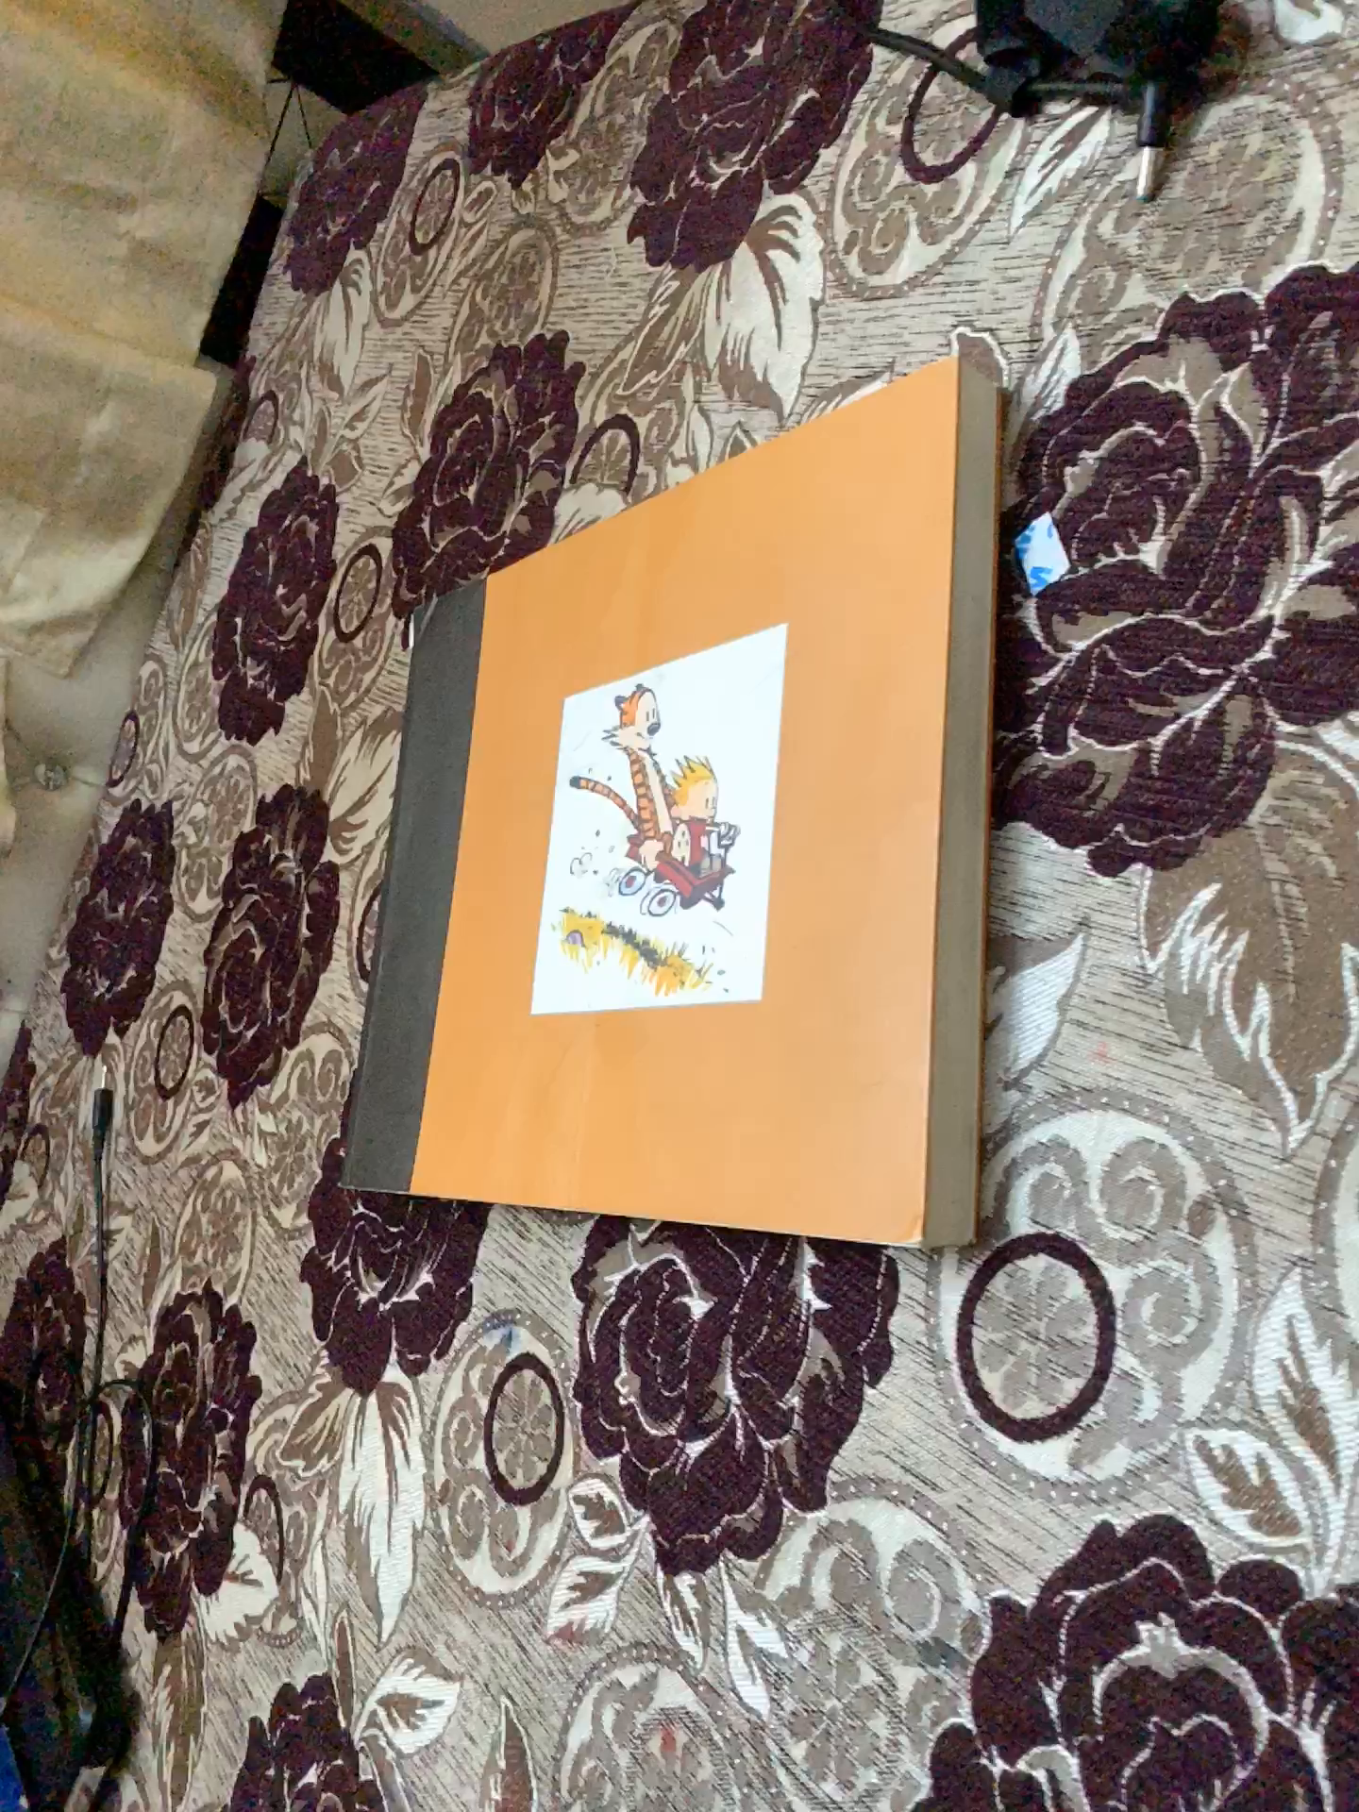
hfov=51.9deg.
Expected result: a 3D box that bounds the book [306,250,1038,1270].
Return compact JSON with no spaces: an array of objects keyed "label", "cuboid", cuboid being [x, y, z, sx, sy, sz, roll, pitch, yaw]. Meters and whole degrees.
[{"label":"book","cuboid":[-0.017,-0.030,0.452,0.272,0.040,0.260,-9,70,47]}]
